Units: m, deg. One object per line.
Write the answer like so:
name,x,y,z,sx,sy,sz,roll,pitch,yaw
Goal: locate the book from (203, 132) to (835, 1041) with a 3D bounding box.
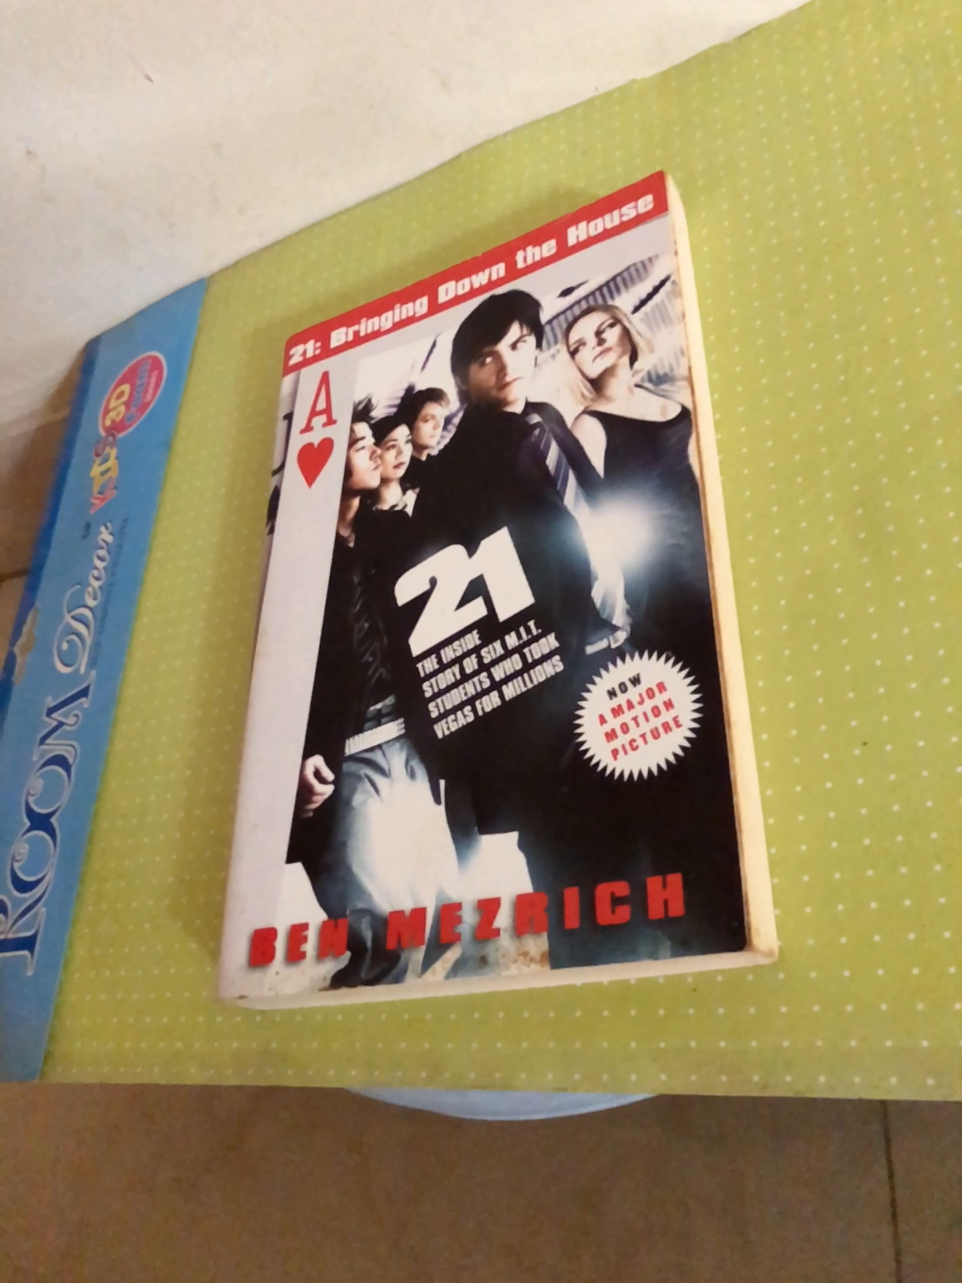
book,0.004,-0.015,0.275,0.130,0.040,0.210,-15,60,27
